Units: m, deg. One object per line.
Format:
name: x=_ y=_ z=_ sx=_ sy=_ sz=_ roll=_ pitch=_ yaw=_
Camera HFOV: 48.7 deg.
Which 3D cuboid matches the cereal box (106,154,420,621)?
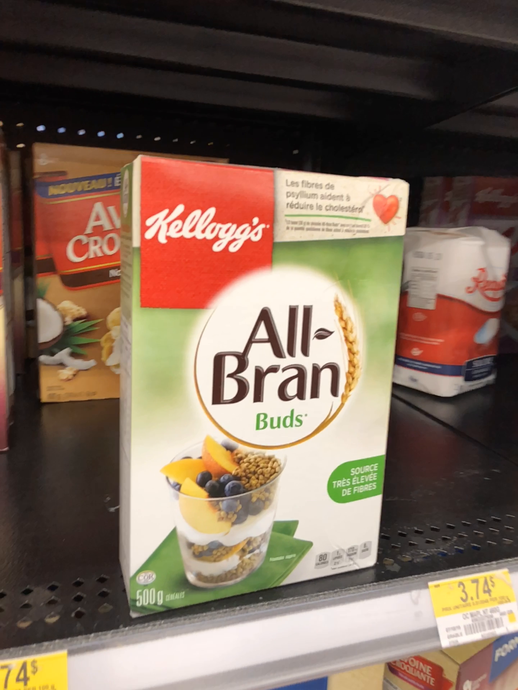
cereal box: x=-0.002 y=0.020 z=0.309 sx=0.150 sy=0.219 sz=0.050 roll=-2 pitch=13 yaw=-22
